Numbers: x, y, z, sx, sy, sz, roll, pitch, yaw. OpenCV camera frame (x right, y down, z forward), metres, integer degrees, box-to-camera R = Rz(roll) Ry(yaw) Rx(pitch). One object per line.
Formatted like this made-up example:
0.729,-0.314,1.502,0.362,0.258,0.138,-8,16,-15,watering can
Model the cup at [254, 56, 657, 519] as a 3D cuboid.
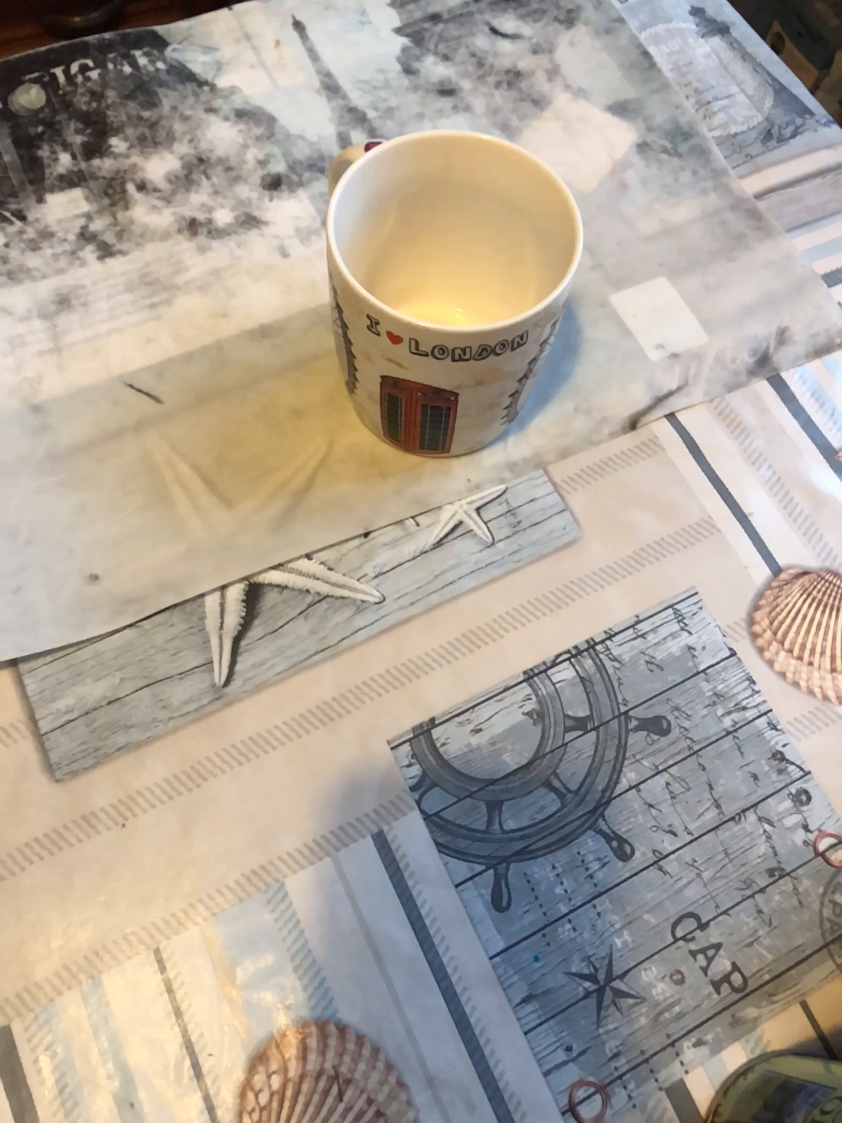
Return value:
0.005,-0.101,0.347,0.084,0.086,0.121,-25,70,-18,cup
